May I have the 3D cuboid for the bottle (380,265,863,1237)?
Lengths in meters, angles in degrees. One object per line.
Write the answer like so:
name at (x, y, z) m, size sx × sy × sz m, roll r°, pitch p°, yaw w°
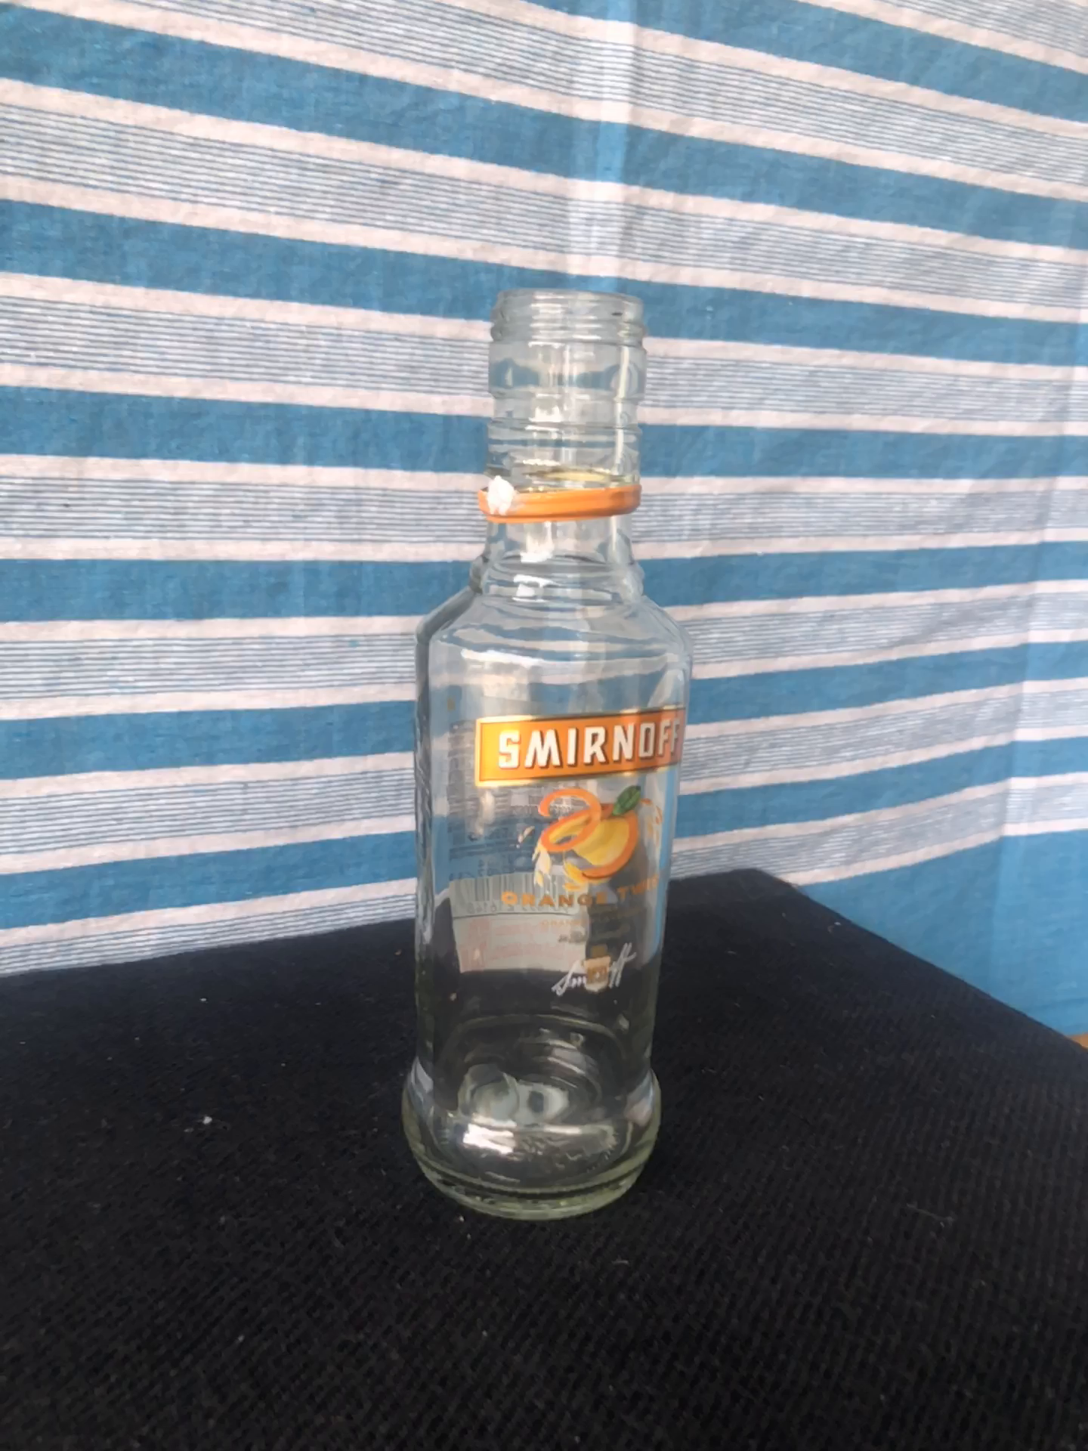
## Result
bottle at (0.008, 0.006, 0.234) m, size 0.060 × 0.169 × 0.050 m, roll 2°, pitch 15°, yaw -17°
